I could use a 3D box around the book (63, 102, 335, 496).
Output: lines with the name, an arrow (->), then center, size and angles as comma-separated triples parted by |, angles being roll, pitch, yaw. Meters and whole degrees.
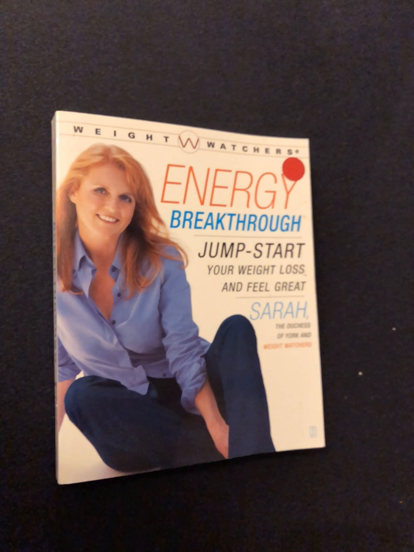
book -> -0.002, 0.011, 0.323 | 0.185, 0.030, 0.234 | 0, 85, -22
